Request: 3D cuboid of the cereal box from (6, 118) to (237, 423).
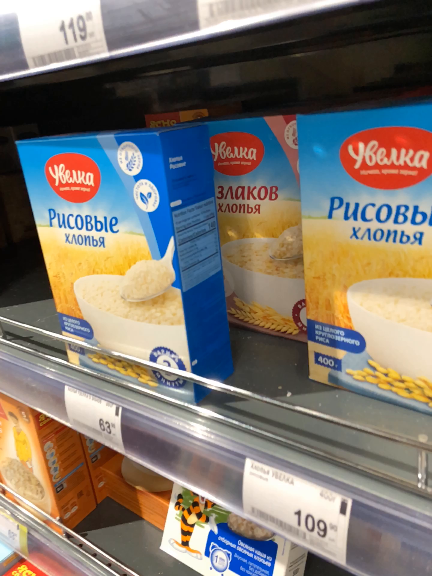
[{"bbox_3d":[-0.067,-0.017,0.362,0.140,0.199,0.060,9,25,33],"label":"cereal box"}]
